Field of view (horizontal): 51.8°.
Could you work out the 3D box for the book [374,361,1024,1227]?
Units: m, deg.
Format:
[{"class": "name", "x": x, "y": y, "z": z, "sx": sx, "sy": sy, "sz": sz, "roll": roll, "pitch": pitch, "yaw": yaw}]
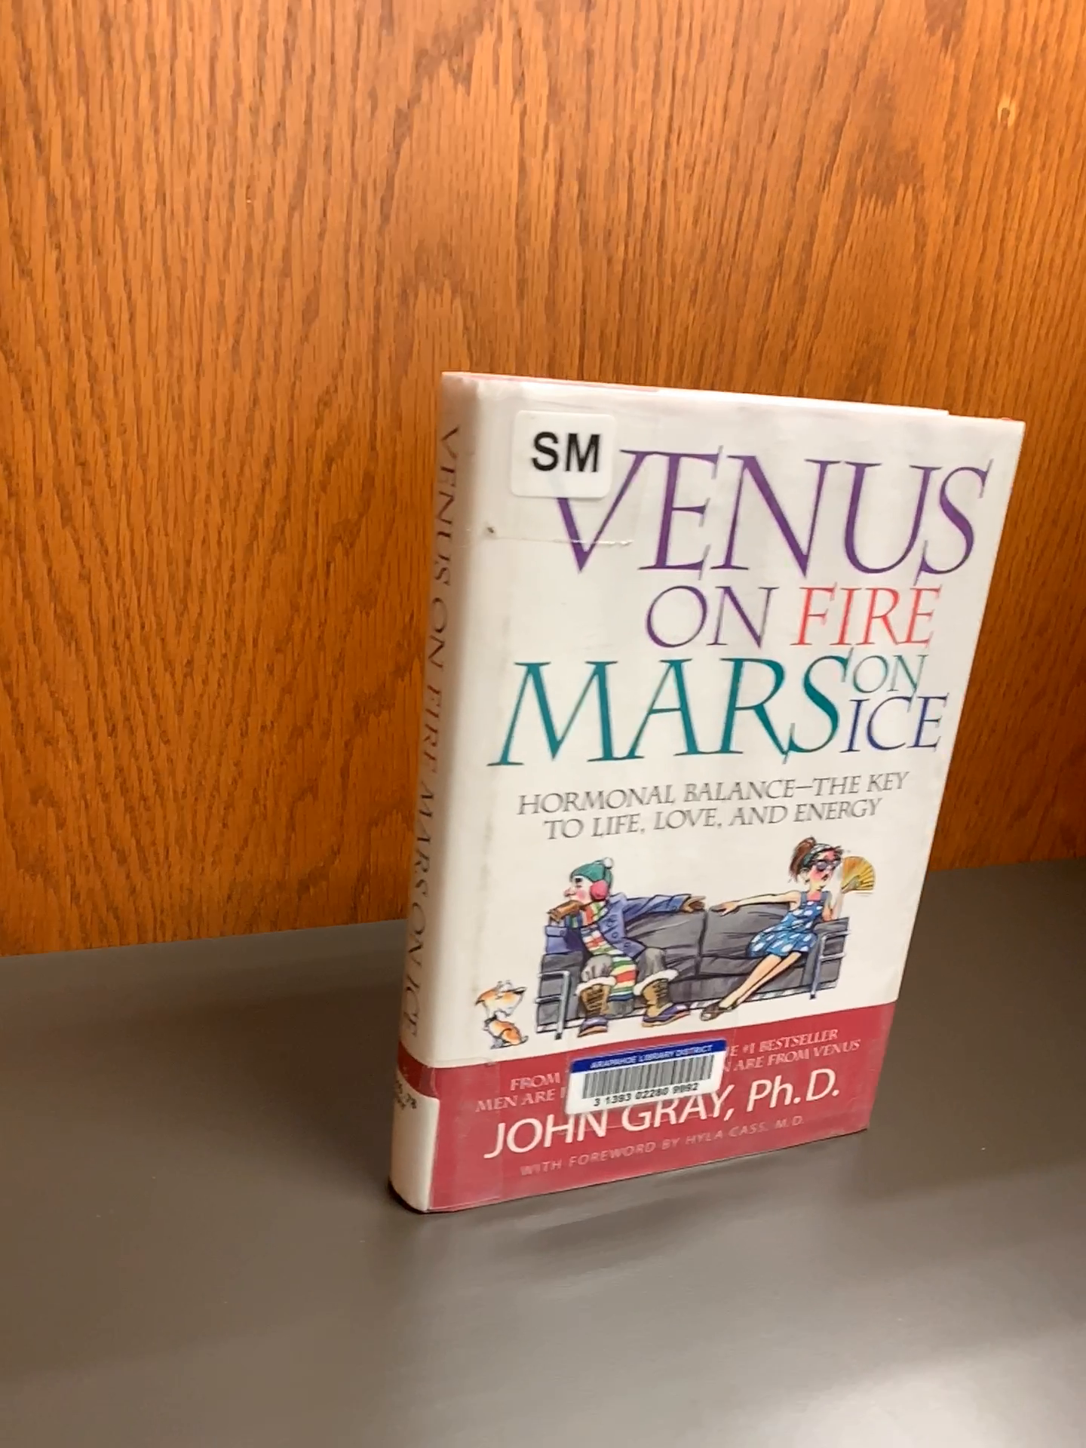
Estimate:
[{"class": "book", "x": 0.037, "y": 0.022, "z": 0.307, "sx": 0.153, "sy": 0.220, "sz": 0.033, "roll": -2, "pitch": 19, "yaw": -21}]
